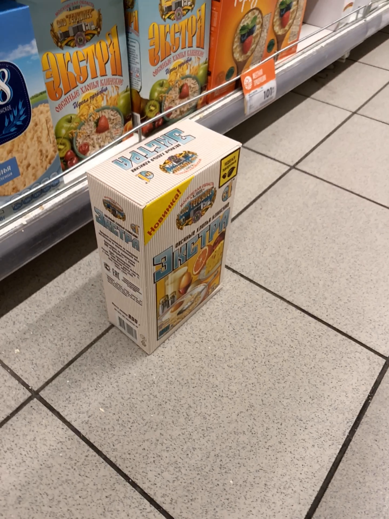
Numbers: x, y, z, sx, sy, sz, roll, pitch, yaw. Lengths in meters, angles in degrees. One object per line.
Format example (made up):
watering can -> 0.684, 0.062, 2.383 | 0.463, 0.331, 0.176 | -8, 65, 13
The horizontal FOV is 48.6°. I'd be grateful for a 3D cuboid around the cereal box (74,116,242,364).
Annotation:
cereal box -> -0.035, -0.015, 0.500 | 0.080, 0.239, 0.151 | 32, 52, 26
